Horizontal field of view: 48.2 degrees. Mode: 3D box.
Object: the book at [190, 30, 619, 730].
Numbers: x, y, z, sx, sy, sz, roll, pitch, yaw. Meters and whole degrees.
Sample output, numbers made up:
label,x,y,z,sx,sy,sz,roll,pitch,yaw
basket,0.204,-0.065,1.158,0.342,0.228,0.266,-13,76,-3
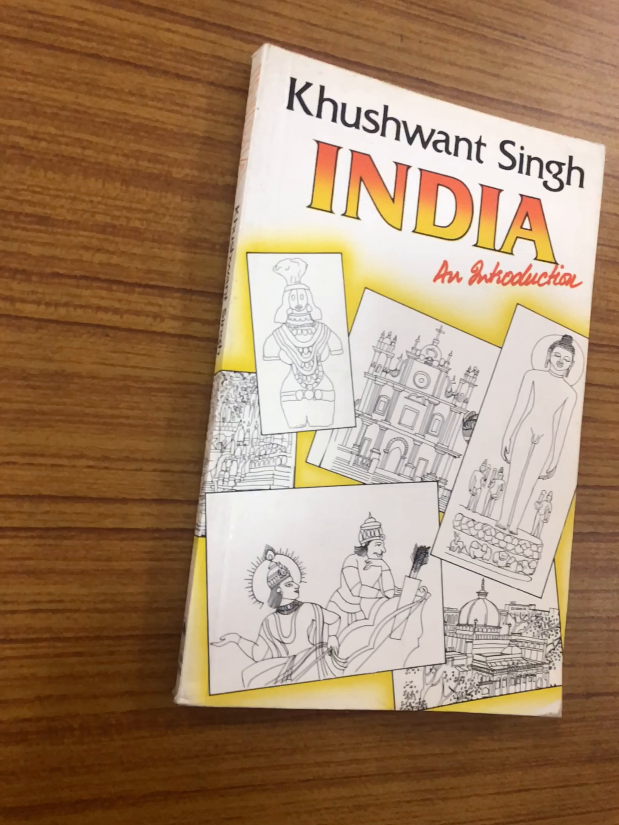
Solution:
label,x,y,z,sx,sy,sz,roll,pitch,yaw
book,0.047,-0.003,0.216,0.140,0.020,0.190,9,85,-18
